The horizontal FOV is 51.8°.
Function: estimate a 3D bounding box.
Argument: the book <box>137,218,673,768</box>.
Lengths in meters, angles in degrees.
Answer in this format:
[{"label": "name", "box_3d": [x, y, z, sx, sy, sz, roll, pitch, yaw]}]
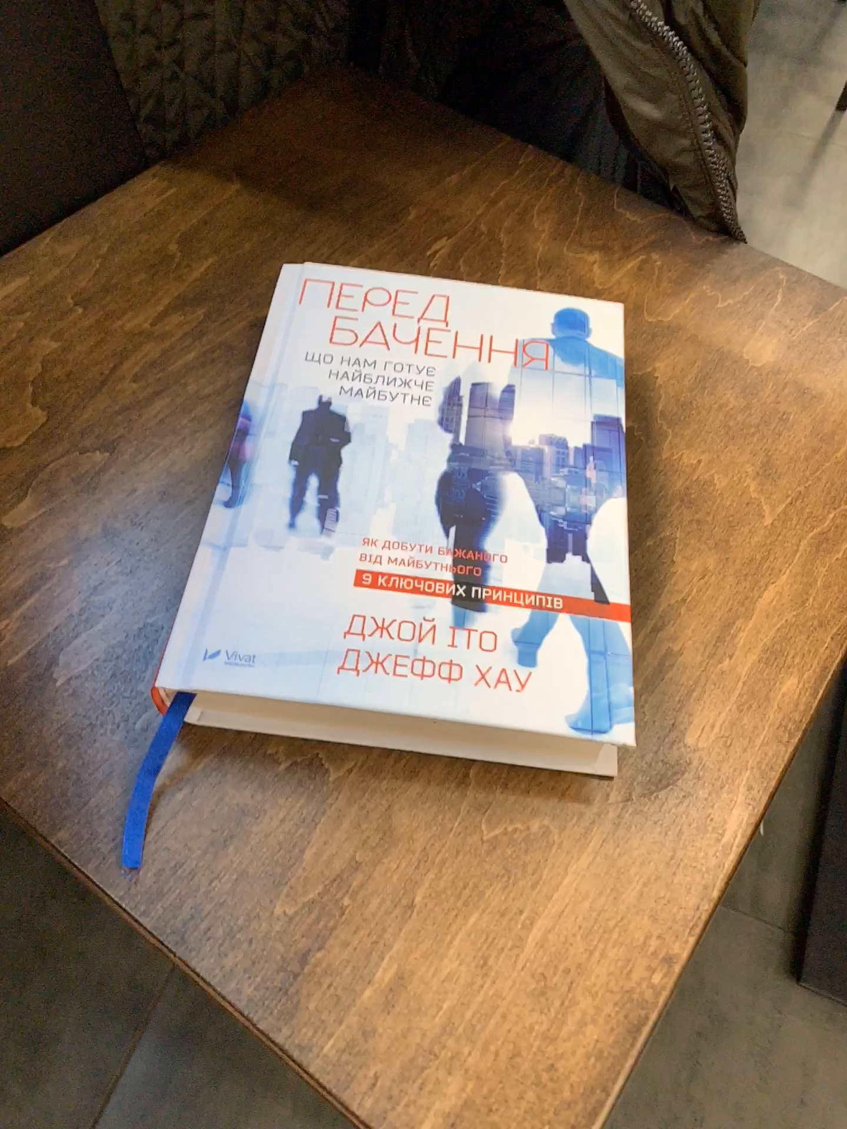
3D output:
[{"label": "book", "box_3d": [0.004, -0.038, 0.311, 0.149, 0.040, 0.196, 7, 56, 0]}]
